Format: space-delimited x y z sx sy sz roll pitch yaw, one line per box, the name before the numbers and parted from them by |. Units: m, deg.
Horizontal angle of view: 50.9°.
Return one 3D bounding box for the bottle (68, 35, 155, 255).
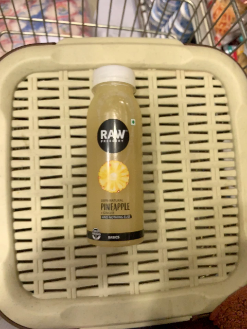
bottle | -0.012 -0.015 0.213 0.060 0.050 0.160 0 83 -7
